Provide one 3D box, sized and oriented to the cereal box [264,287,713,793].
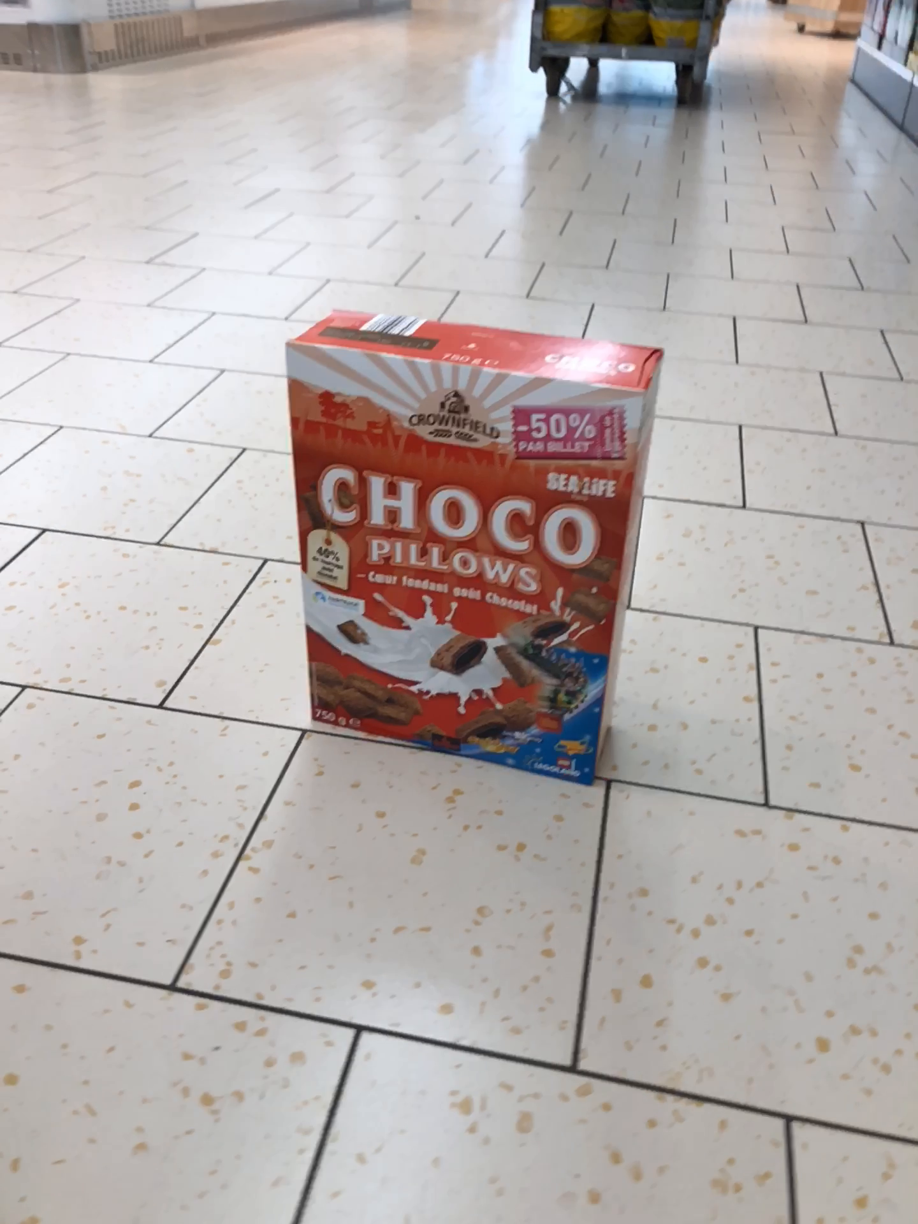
[{"bbox_3d":[0.014,-0.041,0.576,0.210,0.238,0.091,12,34,15],"label":"cereal box"}]
